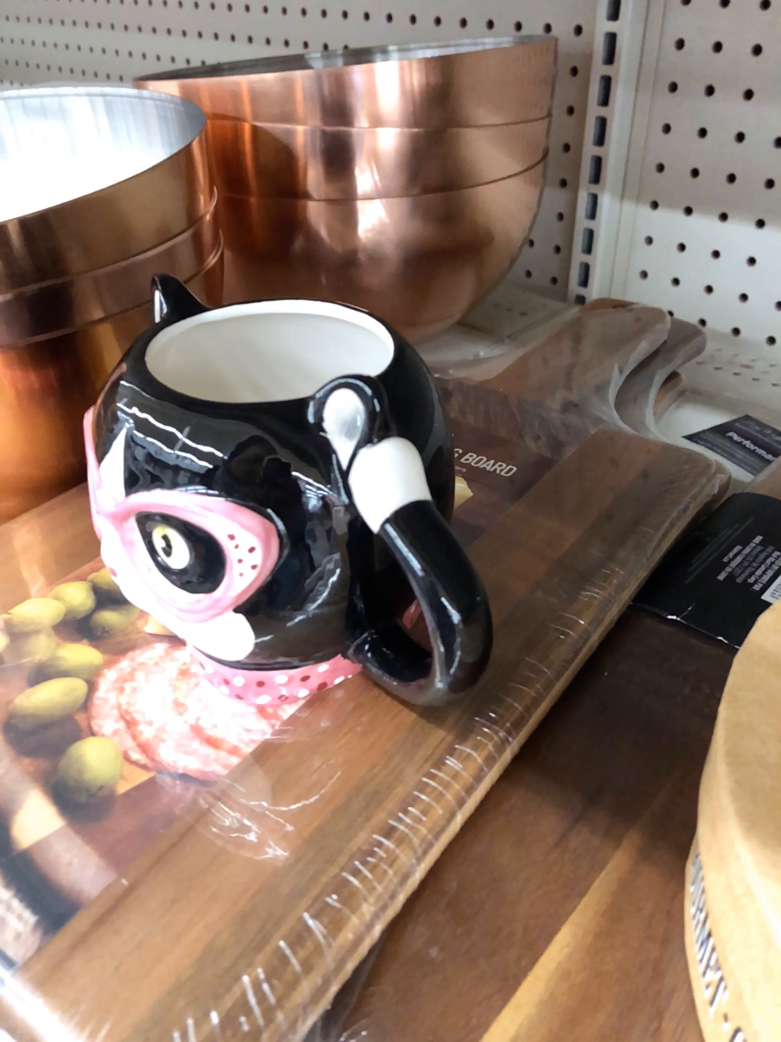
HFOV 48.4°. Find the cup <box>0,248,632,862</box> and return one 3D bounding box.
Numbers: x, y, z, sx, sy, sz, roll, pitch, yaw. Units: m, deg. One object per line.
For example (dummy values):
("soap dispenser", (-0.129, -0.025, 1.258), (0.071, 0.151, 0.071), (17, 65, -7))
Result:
("cup", (-0.028, -0.007, 0.232), (0.080, 0.080, 0.150), (-26, 41, -32))
